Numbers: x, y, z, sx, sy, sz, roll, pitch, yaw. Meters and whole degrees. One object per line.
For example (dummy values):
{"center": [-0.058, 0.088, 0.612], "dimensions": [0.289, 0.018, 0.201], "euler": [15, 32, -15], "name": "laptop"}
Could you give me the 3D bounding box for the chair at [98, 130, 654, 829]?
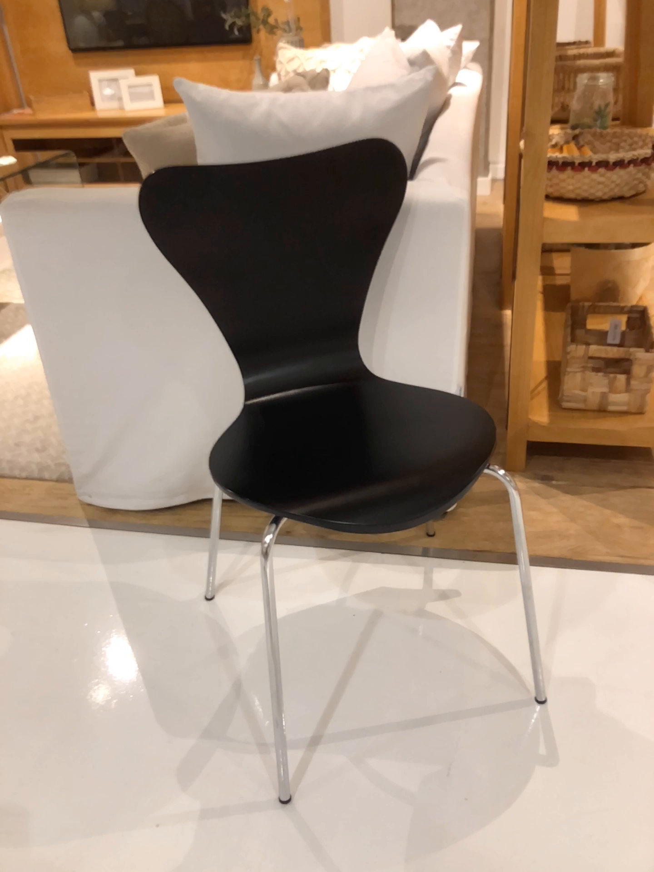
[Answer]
{"center": [0.041, 0.020, 1.102], "dimensions": [0.541, 0.774, 0.554], "euler": [-14, 32, -15], "name": "chair"}
